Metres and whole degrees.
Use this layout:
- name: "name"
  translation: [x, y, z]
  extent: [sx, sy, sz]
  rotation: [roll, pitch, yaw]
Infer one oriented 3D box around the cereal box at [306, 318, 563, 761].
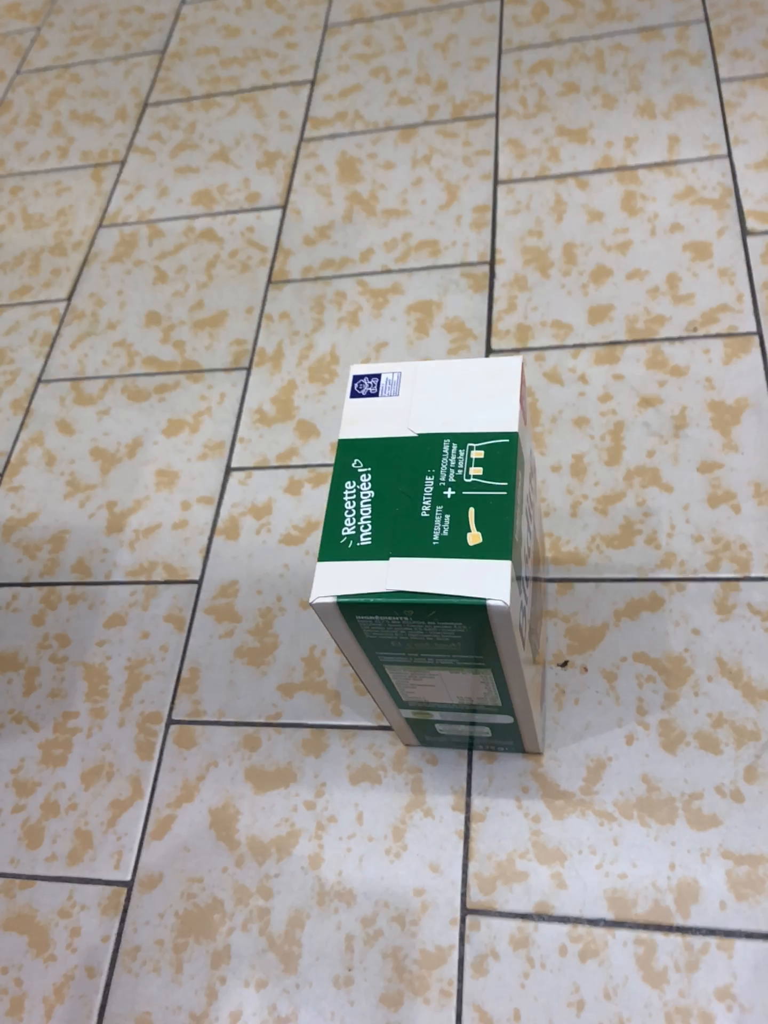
- name: "cereal box"
  translation: [0.038, 0.024, 0.393]
  extent: [0.080, 0.179, 0.131]
  rotation: [0, 59, 14]
